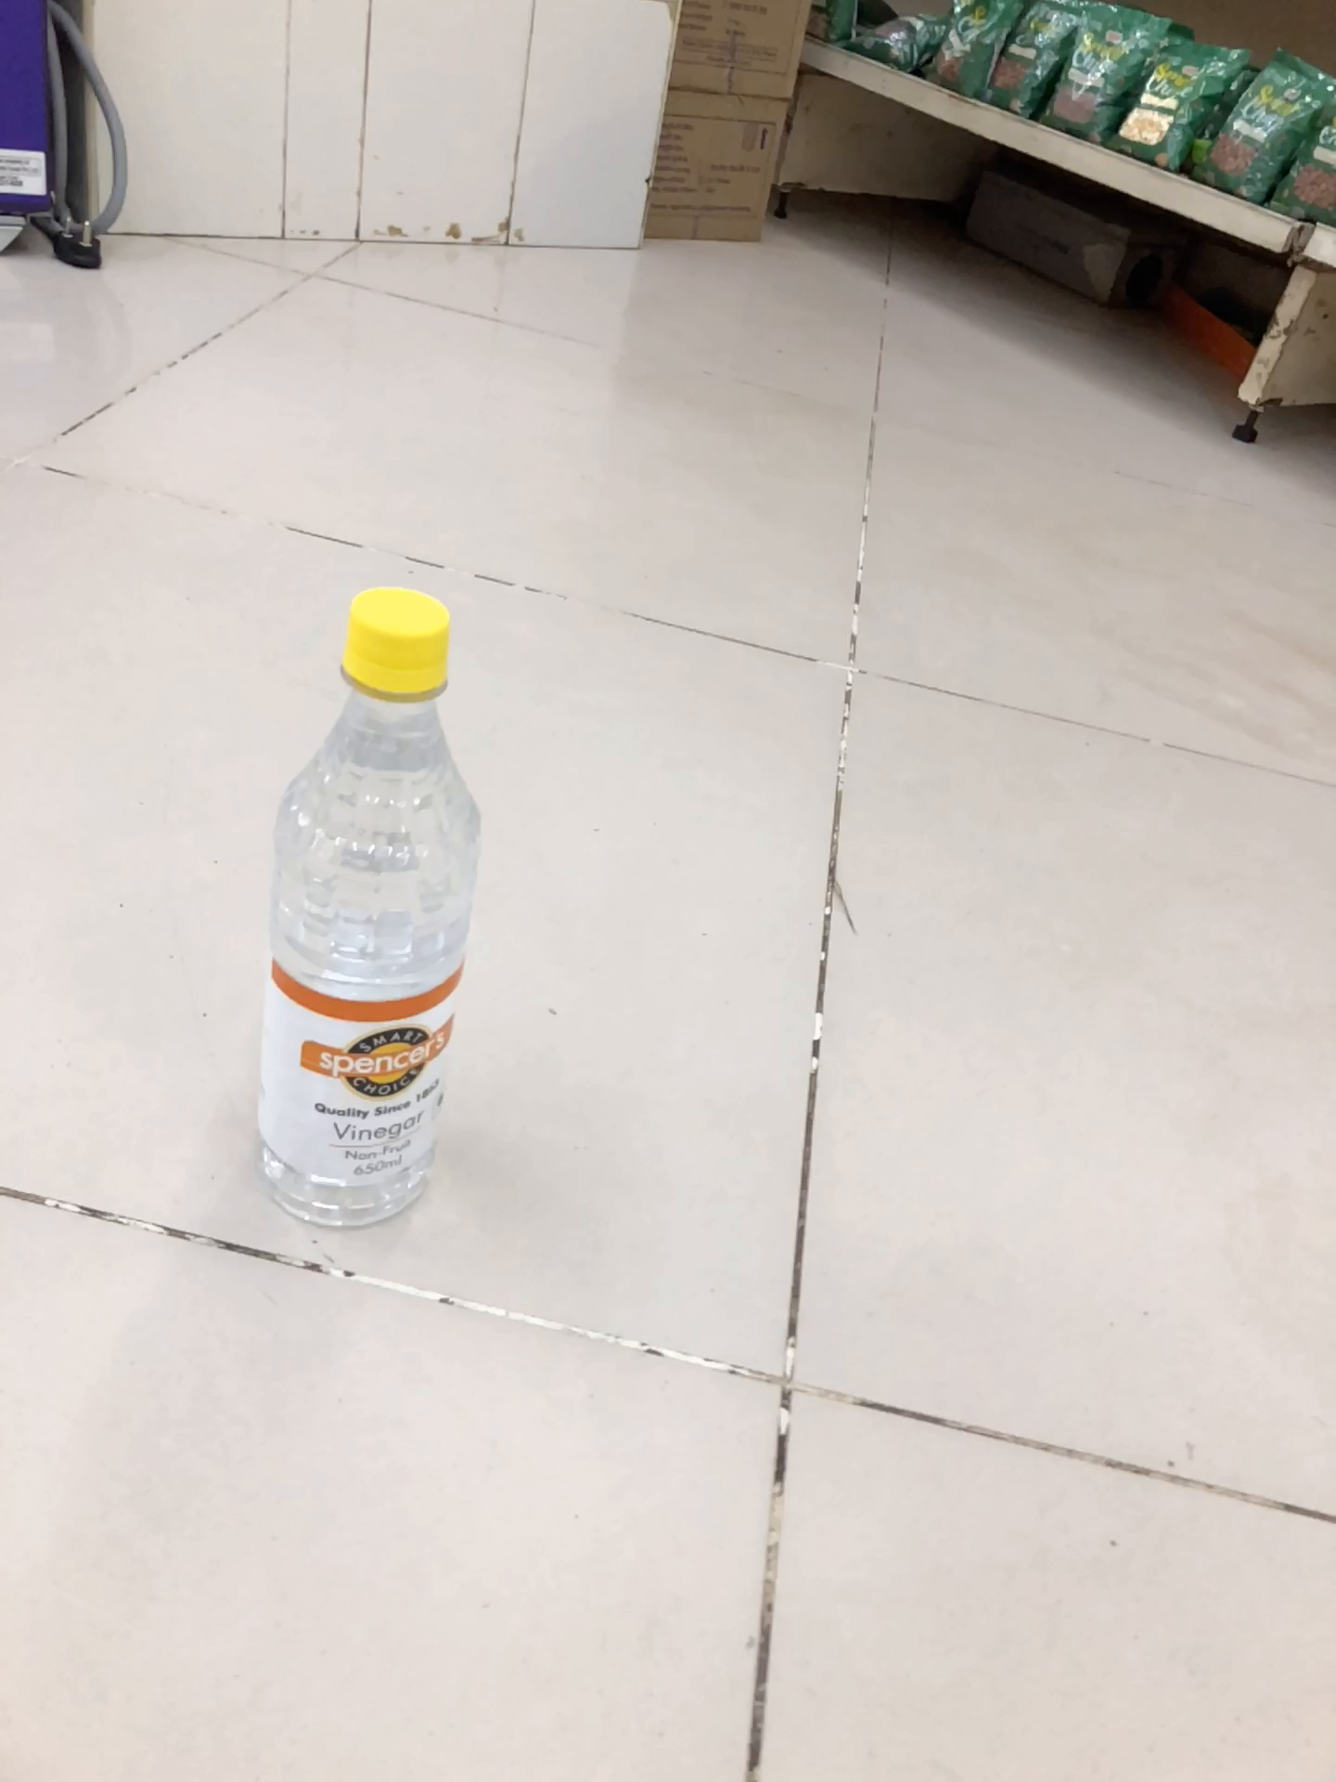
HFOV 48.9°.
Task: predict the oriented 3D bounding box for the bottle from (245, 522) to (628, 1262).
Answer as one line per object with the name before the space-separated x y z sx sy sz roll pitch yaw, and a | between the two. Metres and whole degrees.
bottle | -0.088 0.006 0.496 0.080 0.238 0.080 9 35 -6
